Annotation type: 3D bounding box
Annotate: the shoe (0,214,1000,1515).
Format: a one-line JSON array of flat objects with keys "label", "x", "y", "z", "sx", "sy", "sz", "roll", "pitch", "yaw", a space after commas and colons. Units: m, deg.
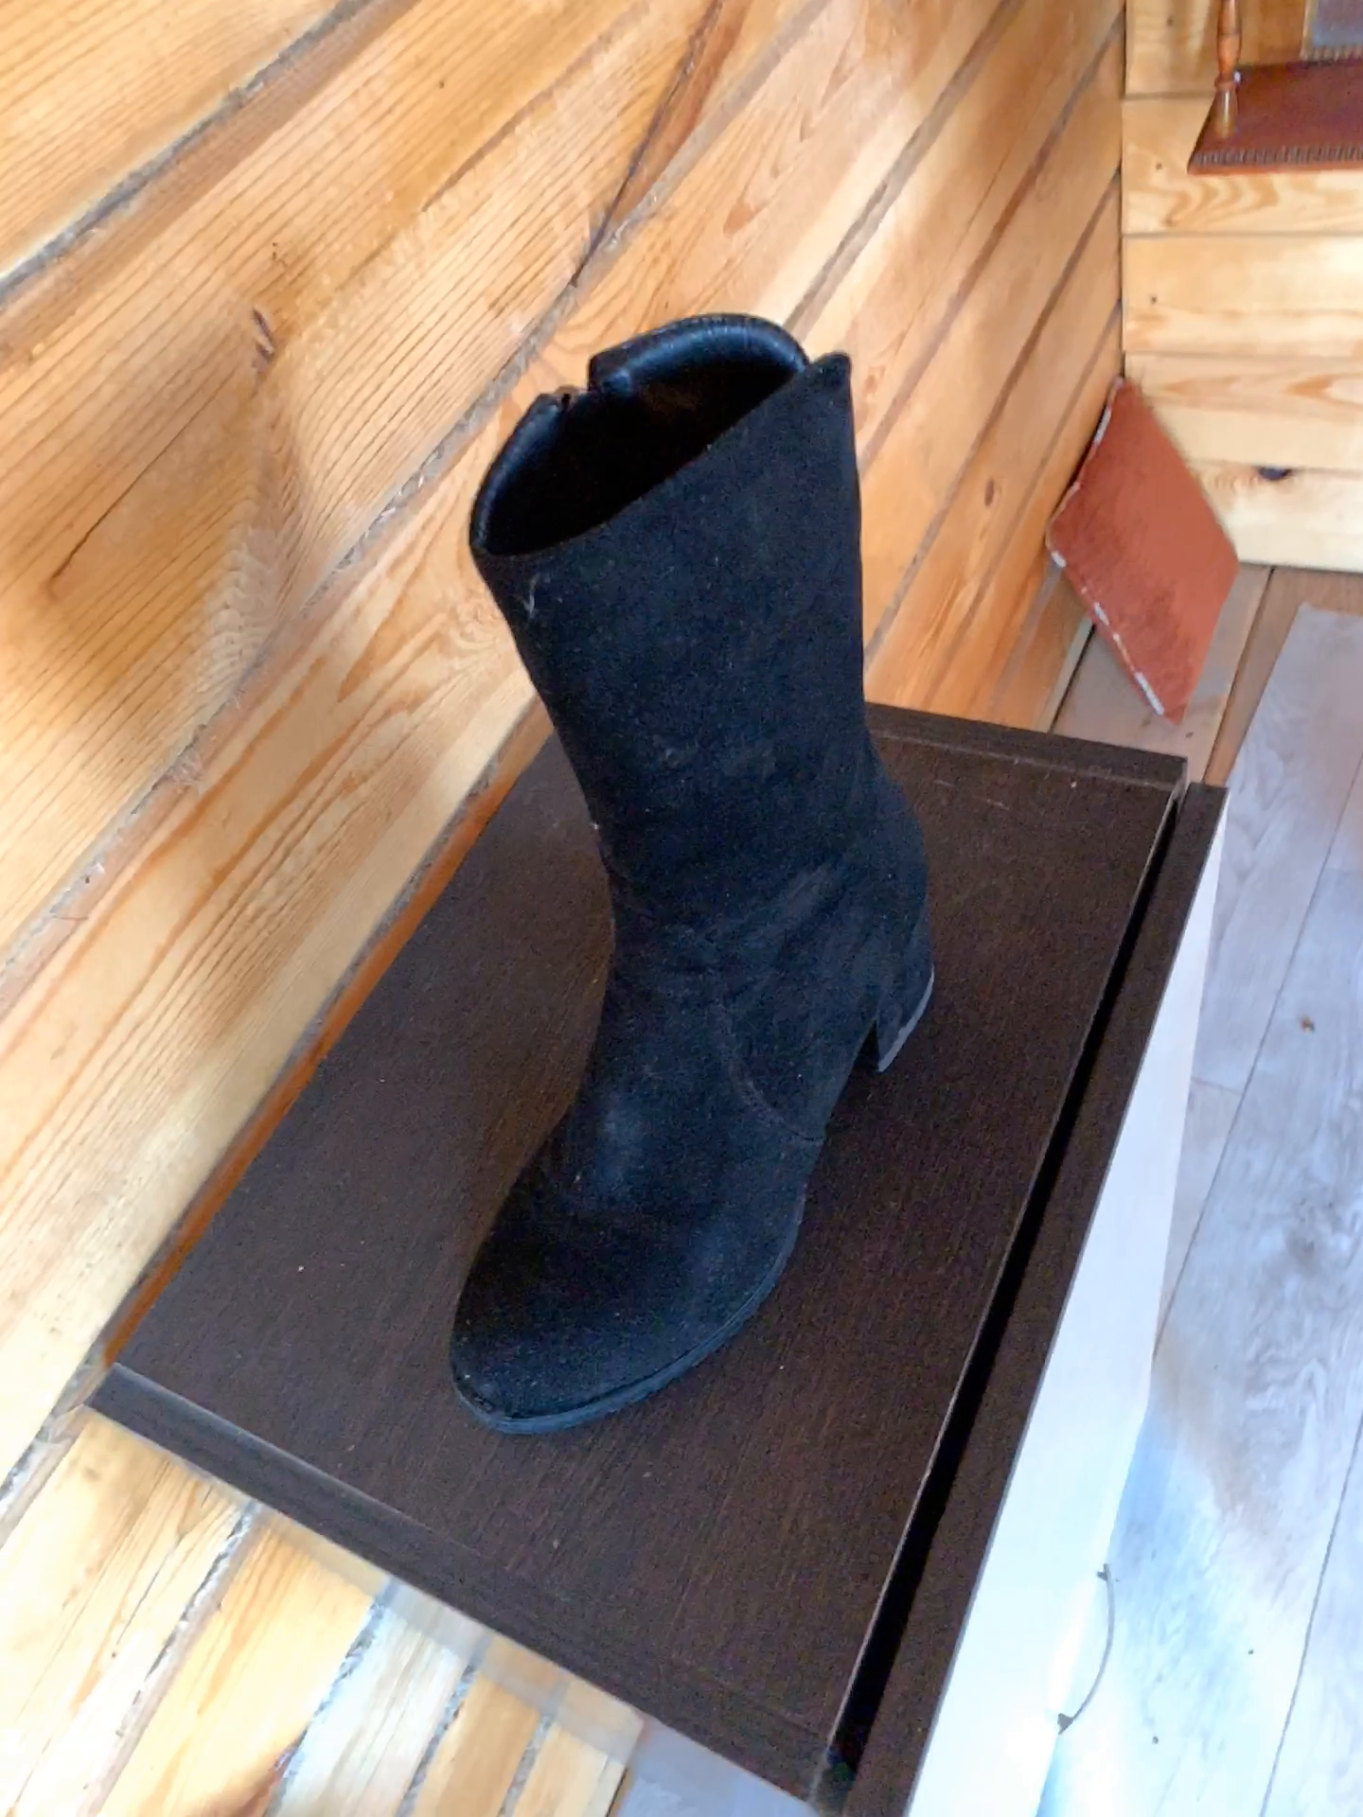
[{"label": "shoe", "x": -0.014, "y": -0.002, "z": 0.393, "sx": 0.100, "sy": 0.268, "sz": 0.233, "roll": 20, "pitch": 59, "yaw": 29}]
